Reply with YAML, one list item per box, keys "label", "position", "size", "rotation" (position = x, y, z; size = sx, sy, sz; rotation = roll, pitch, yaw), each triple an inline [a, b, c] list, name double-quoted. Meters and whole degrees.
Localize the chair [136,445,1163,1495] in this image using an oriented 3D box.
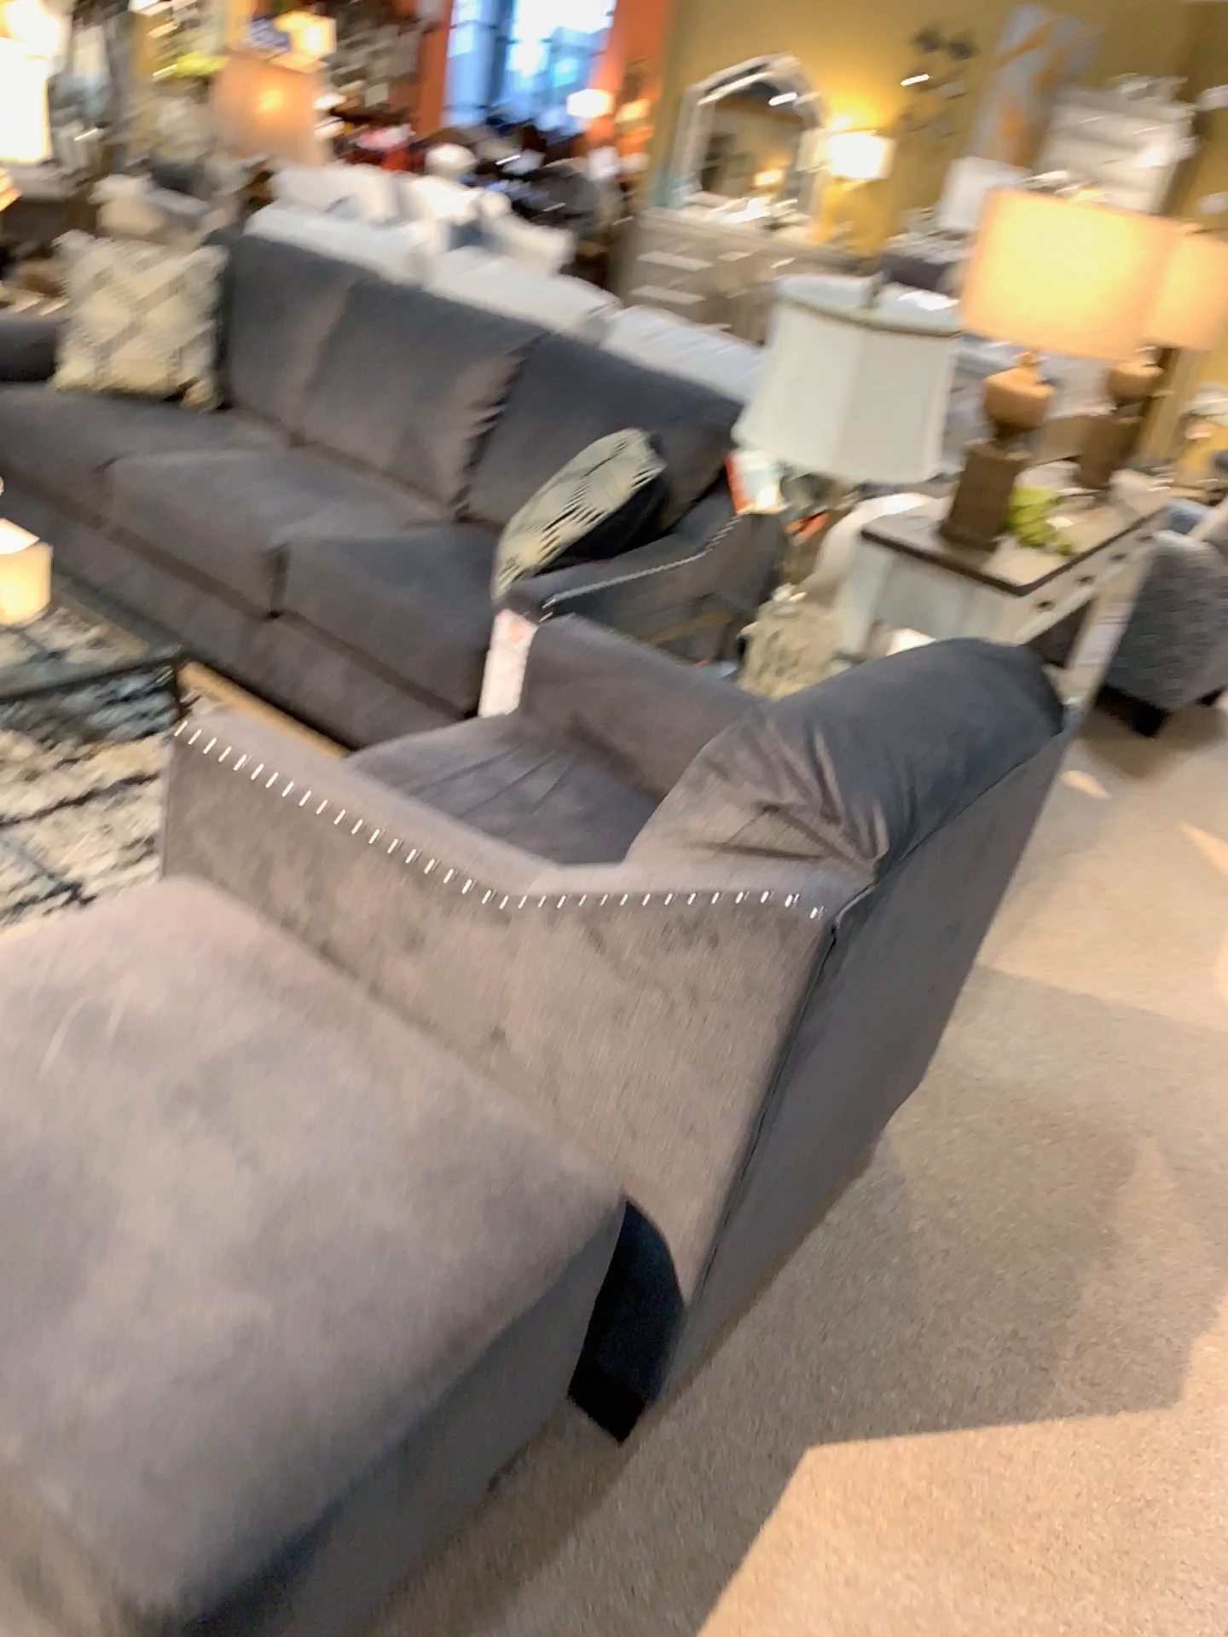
- label: "chair"
  position: [0.032, 0.064, 1.778]
  size: [0.959, 0.840, 0.923]
  rotation: [28, 32, 25]
